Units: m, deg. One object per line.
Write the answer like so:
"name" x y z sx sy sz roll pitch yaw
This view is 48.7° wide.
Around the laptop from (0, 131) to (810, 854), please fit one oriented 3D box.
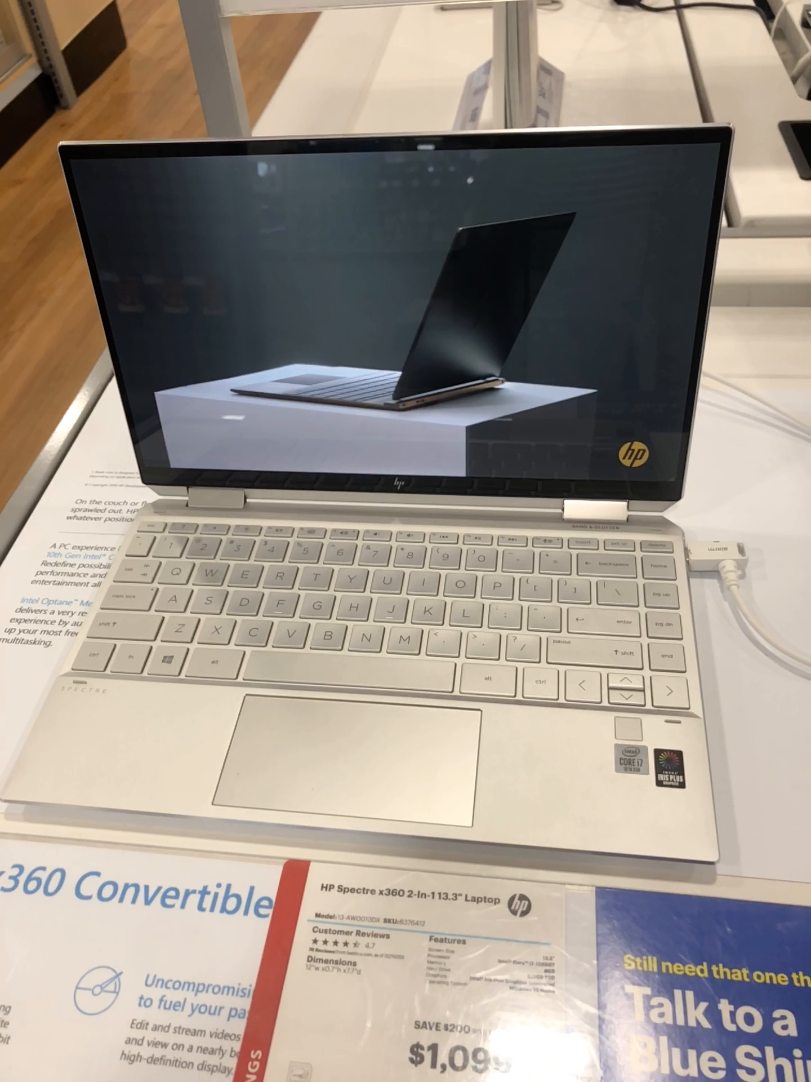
"laptop" -0.020 -0.032 0.382 0.302 0.184 0.228 3 46 9
